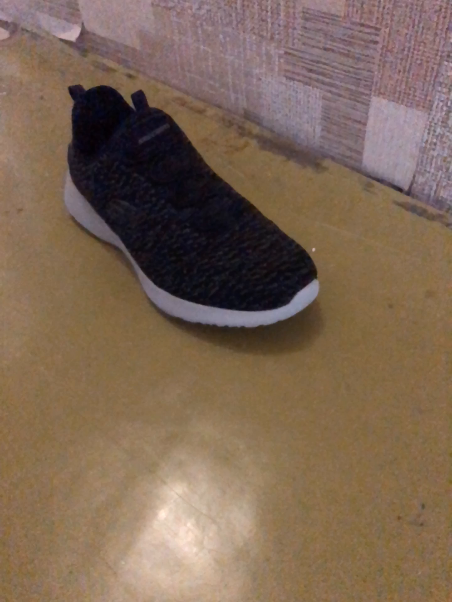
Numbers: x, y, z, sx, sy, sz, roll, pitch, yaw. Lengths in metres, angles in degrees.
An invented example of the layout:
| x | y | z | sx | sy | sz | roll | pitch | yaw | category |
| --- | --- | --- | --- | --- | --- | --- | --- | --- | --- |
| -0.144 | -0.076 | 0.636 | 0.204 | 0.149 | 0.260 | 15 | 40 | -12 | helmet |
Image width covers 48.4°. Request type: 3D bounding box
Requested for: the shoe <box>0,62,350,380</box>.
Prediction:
| x | y | z | sx | sy | sz | roll | pitch | yaw | category |
| --- | --- | --- | --- | --- | --- | --- | --- | --- | --- |
| -0.063 | -0.092 | 0.469 | 0.321 | 0.129 | 0.120 | 35 | 59 | 29 | shoe |
